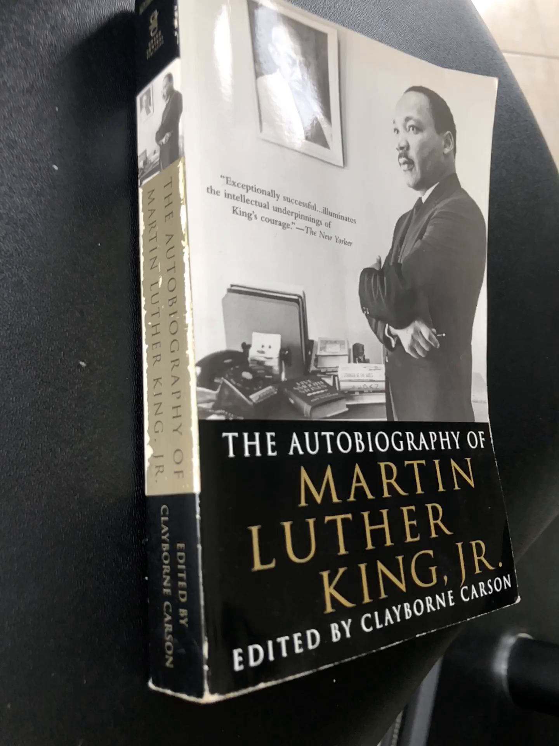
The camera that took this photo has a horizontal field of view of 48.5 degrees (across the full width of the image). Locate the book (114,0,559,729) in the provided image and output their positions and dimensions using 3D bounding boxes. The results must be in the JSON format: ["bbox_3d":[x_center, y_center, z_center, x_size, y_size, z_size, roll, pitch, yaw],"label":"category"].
[{"bbox_3d":[0.026,-0.017,0.235,0.161,0.050,0.230,4,81,-33],"label":"book"}]
